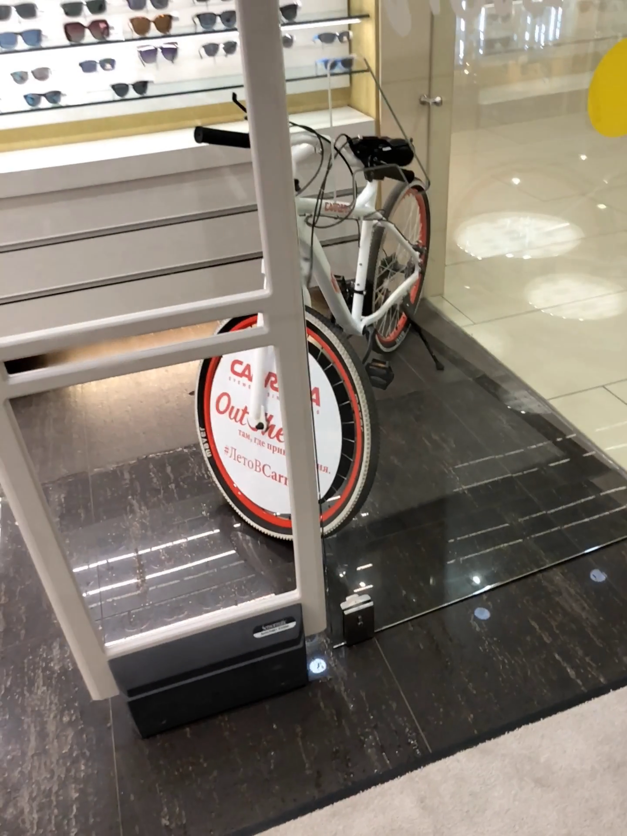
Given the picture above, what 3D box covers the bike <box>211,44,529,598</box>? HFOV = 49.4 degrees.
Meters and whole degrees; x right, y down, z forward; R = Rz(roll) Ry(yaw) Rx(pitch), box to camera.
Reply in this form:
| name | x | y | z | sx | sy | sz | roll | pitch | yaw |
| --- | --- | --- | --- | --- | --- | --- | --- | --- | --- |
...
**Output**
| name | x | y | z | sx | sy | sz | roll | pitch | yaw |
| --- | --- | --- | --- | --- | --- | --- | --- | --- | --- |
| bike | 0.270 | -0.414 | 2.025 | 0.592 | 0.947 | 1.389 | 4 | 38 | 14 |
